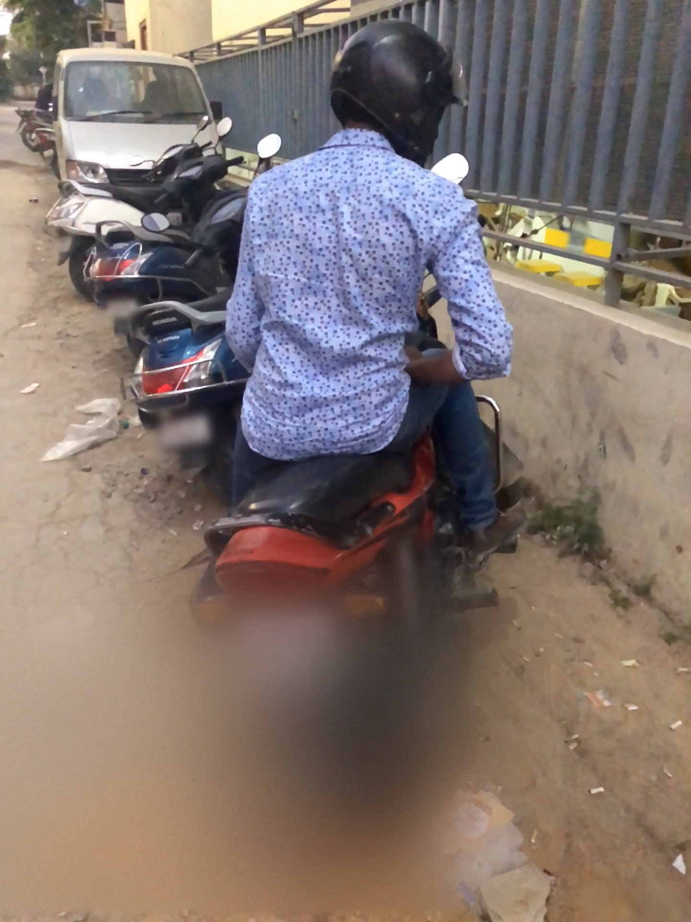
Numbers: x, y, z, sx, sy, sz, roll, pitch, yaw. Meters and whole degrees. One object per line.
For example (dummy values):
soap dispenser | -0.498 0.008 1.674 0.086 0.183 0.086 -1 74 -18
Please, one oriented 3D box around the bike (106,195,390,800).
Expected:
bike | -0.150 -0.134 2.184 0.424 0.830 1.661 4 30 6
